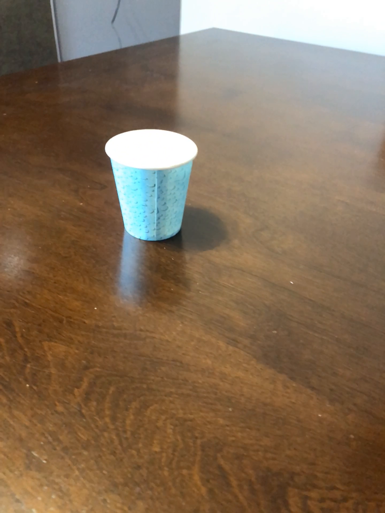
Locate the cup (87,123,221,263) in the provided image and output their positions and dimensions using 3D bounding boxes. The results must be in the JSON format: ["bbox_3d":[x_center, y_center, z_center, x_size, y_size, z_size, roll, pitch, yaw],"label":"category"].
[{"bbox_3d":[-0.024,-0.045,0.289,0.060,0.060,0.060,2,36,-2],"label":"cup"}]
